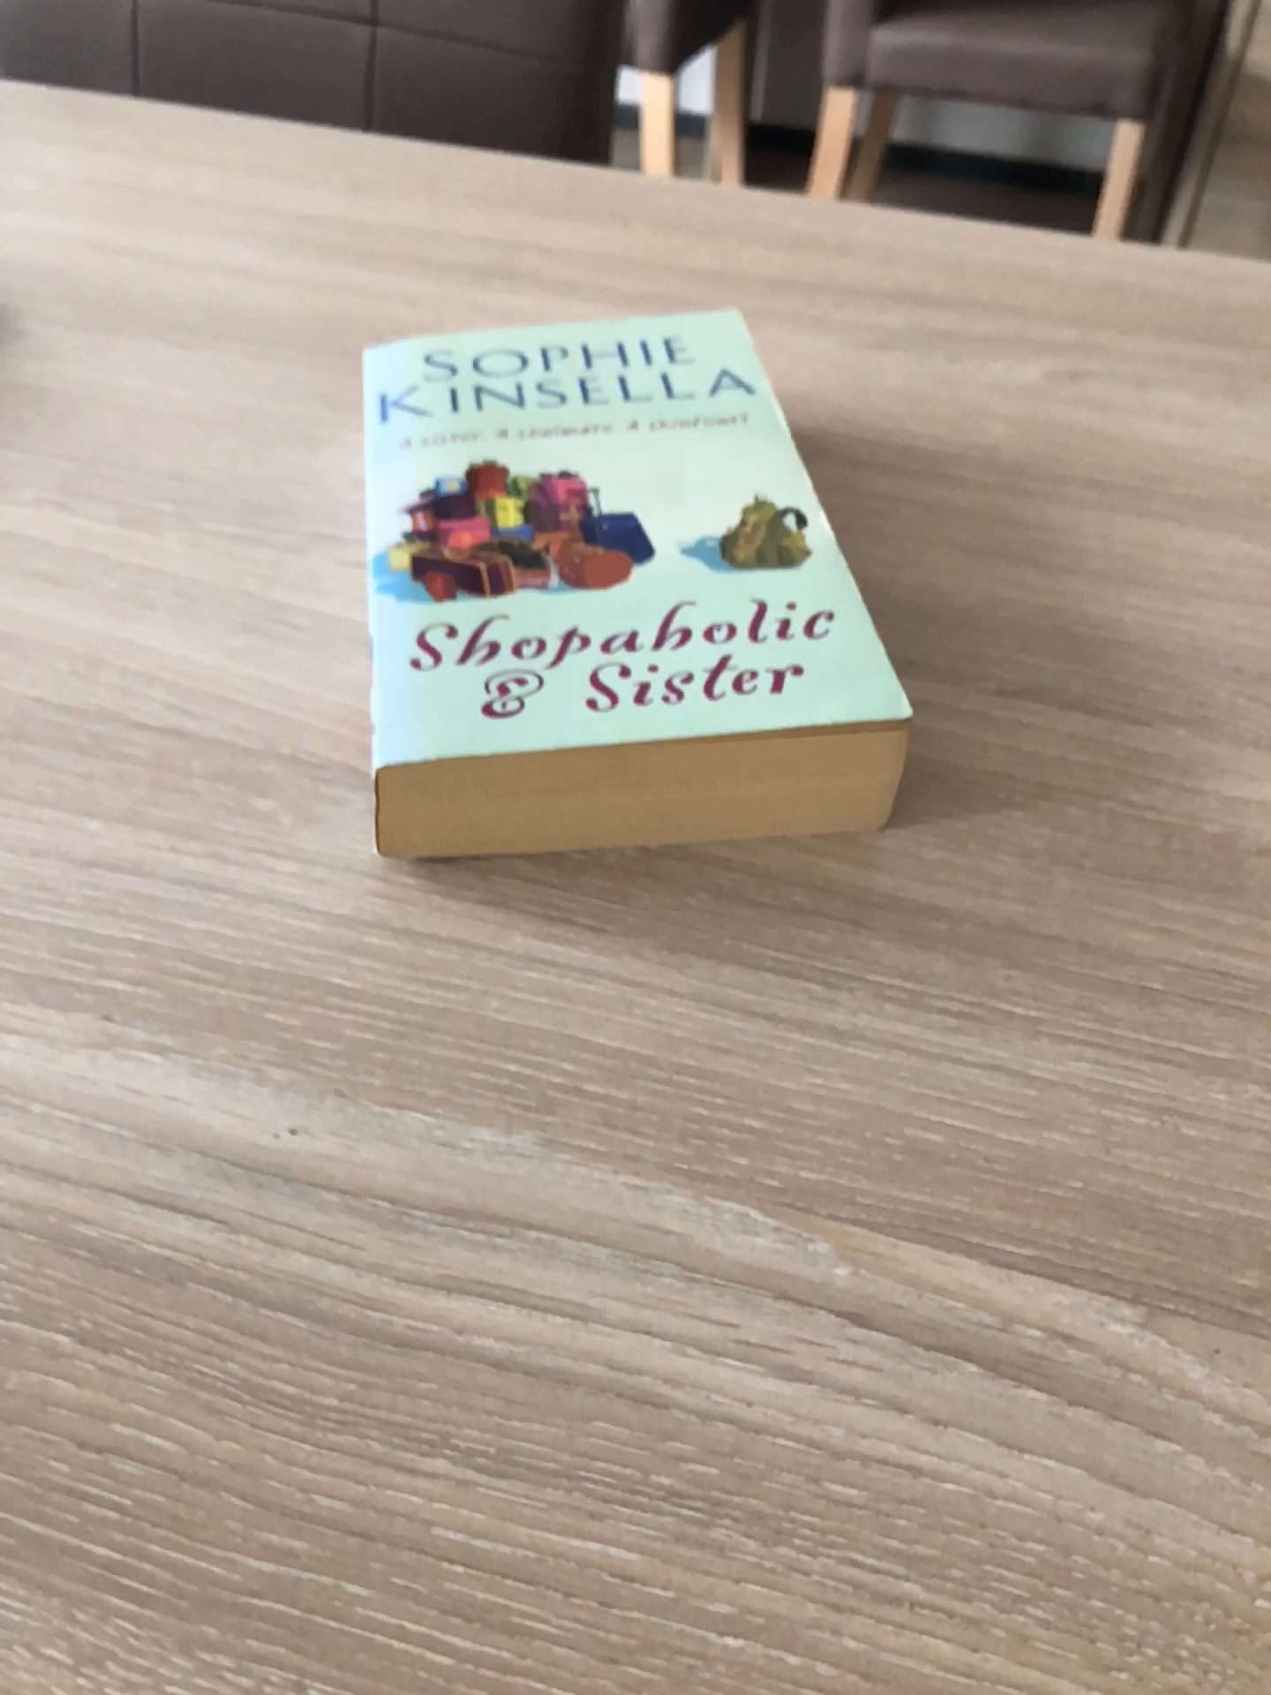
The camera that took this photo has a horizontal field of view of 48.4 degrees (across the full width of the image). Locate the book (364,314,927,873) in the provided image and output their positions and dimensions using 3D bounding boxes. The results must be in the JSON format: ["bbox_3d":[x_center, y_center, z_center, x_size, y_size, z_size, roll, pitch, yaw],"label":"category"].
[{"bbox_3d":[-0.009,-0.073,0.341,0.107,0.031,0.181,-5,44,-6],"label":"book"}]
